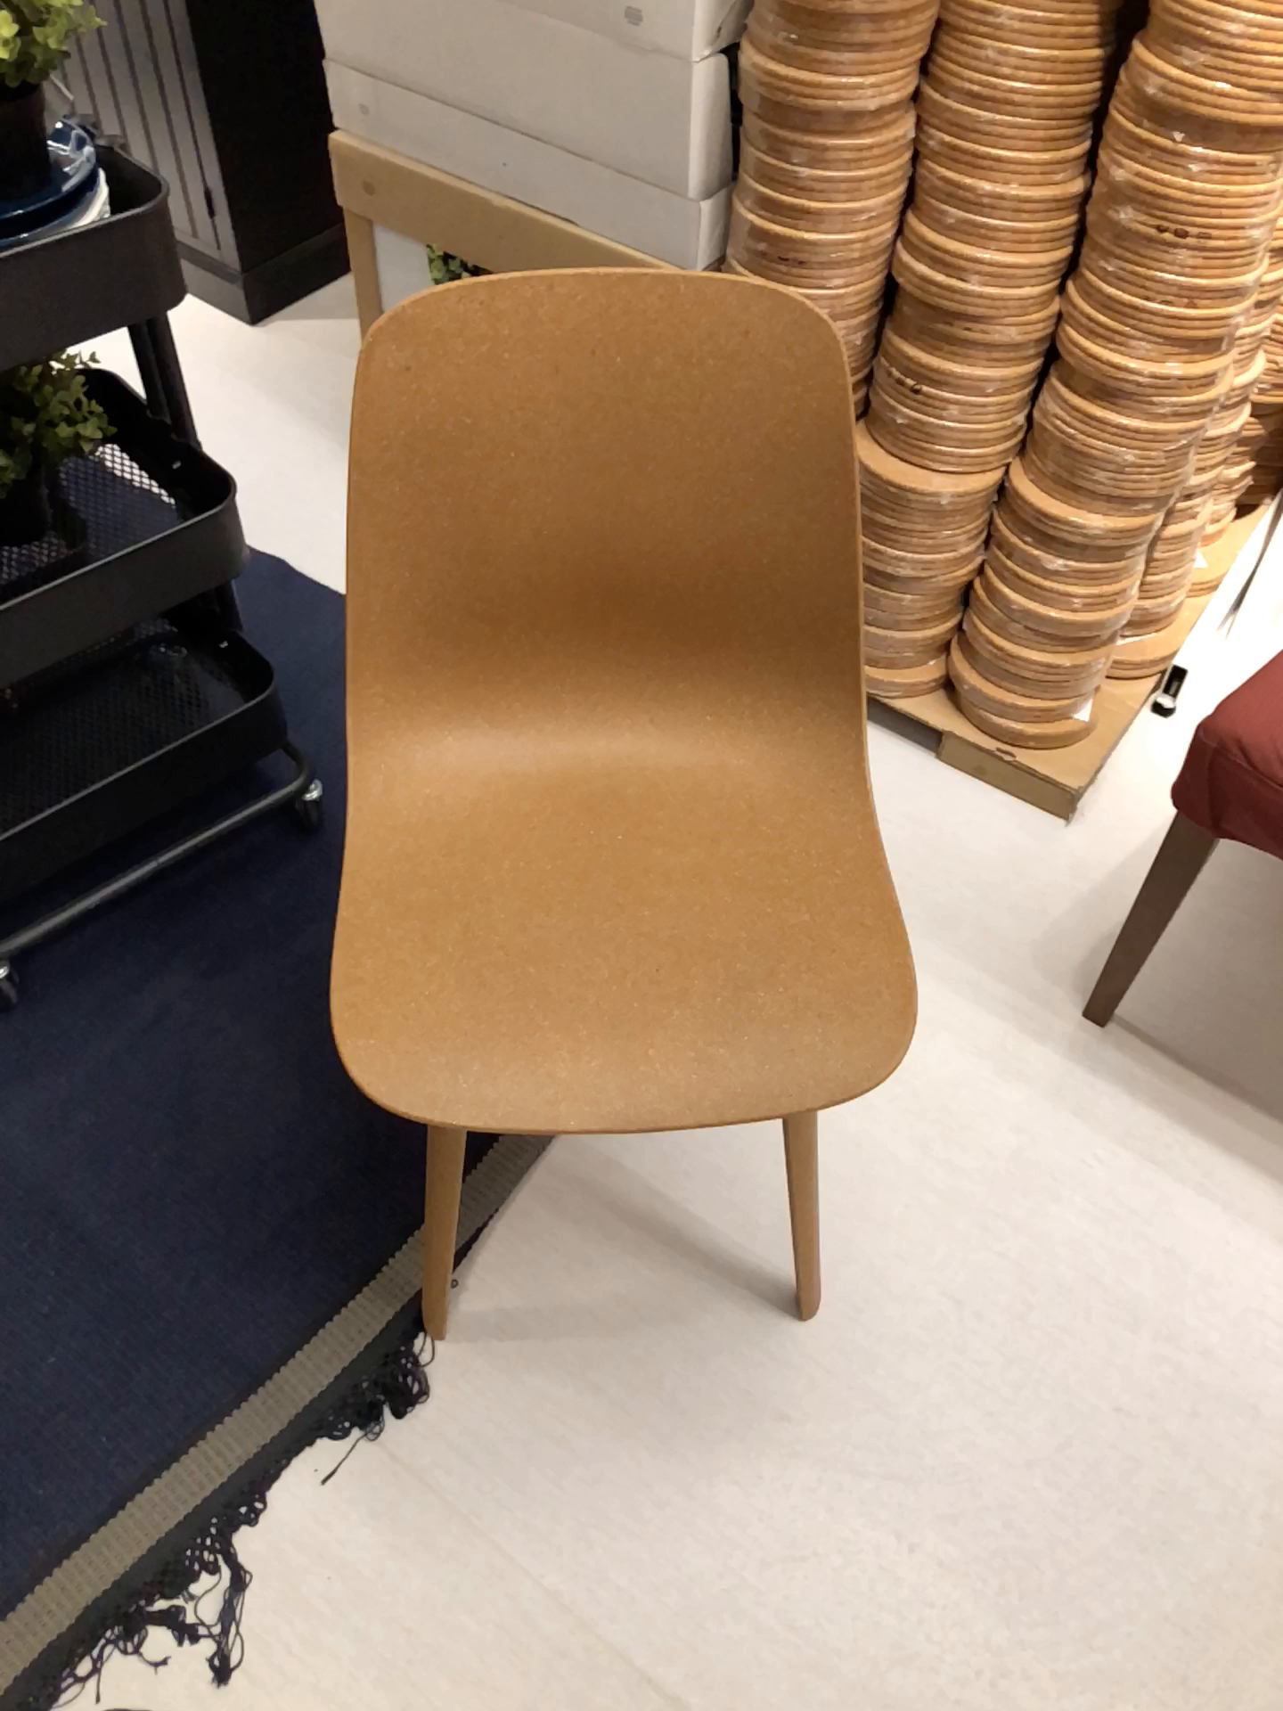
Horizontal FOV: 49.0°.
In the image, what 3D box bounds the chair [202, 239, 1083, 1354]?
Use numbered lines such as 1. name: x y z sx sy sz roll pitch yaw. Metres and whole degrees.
1. chair: -0.021 -0.007 1.166 0.440 0.746 0.553 -2 51 -3
